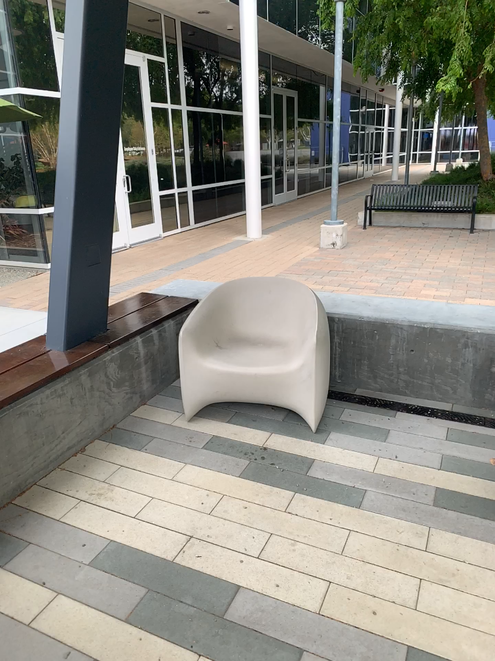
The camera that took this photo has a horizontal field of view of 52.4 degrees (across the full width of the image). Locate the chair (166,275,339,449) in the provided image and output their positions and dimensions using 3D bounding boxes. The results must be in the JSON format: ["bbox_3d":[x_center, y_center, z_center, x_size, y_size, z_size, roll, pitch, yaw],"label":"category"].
[{"bbox_3d":[0.094,0.150,3.421,0.981,0.786,0.924,3,23,10],"label":"chair"}]
